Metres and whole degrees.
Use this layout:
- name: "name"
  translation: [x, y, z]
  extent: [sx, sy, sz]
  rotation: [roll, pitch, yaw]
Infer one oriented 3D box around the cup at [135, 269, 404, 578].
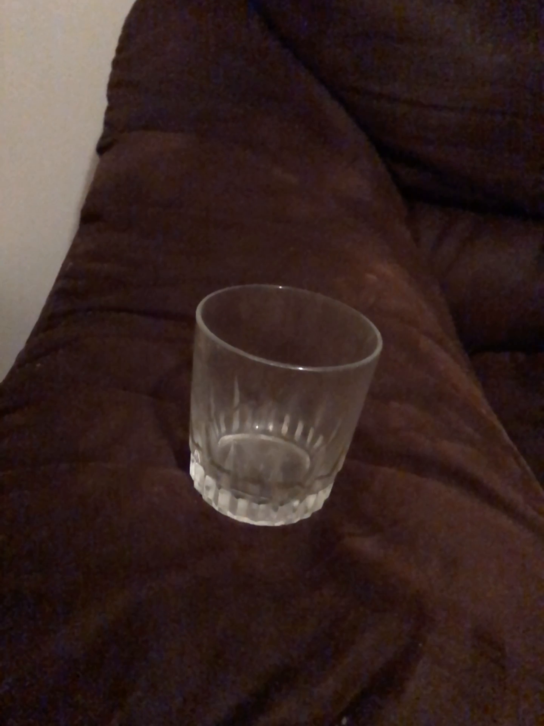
- name: "cup"
  translation: [0.001, 0.020, 0.269]
  extent: [0.086, 0.086, 0.087]
  rotation: [8, 26, -4]
